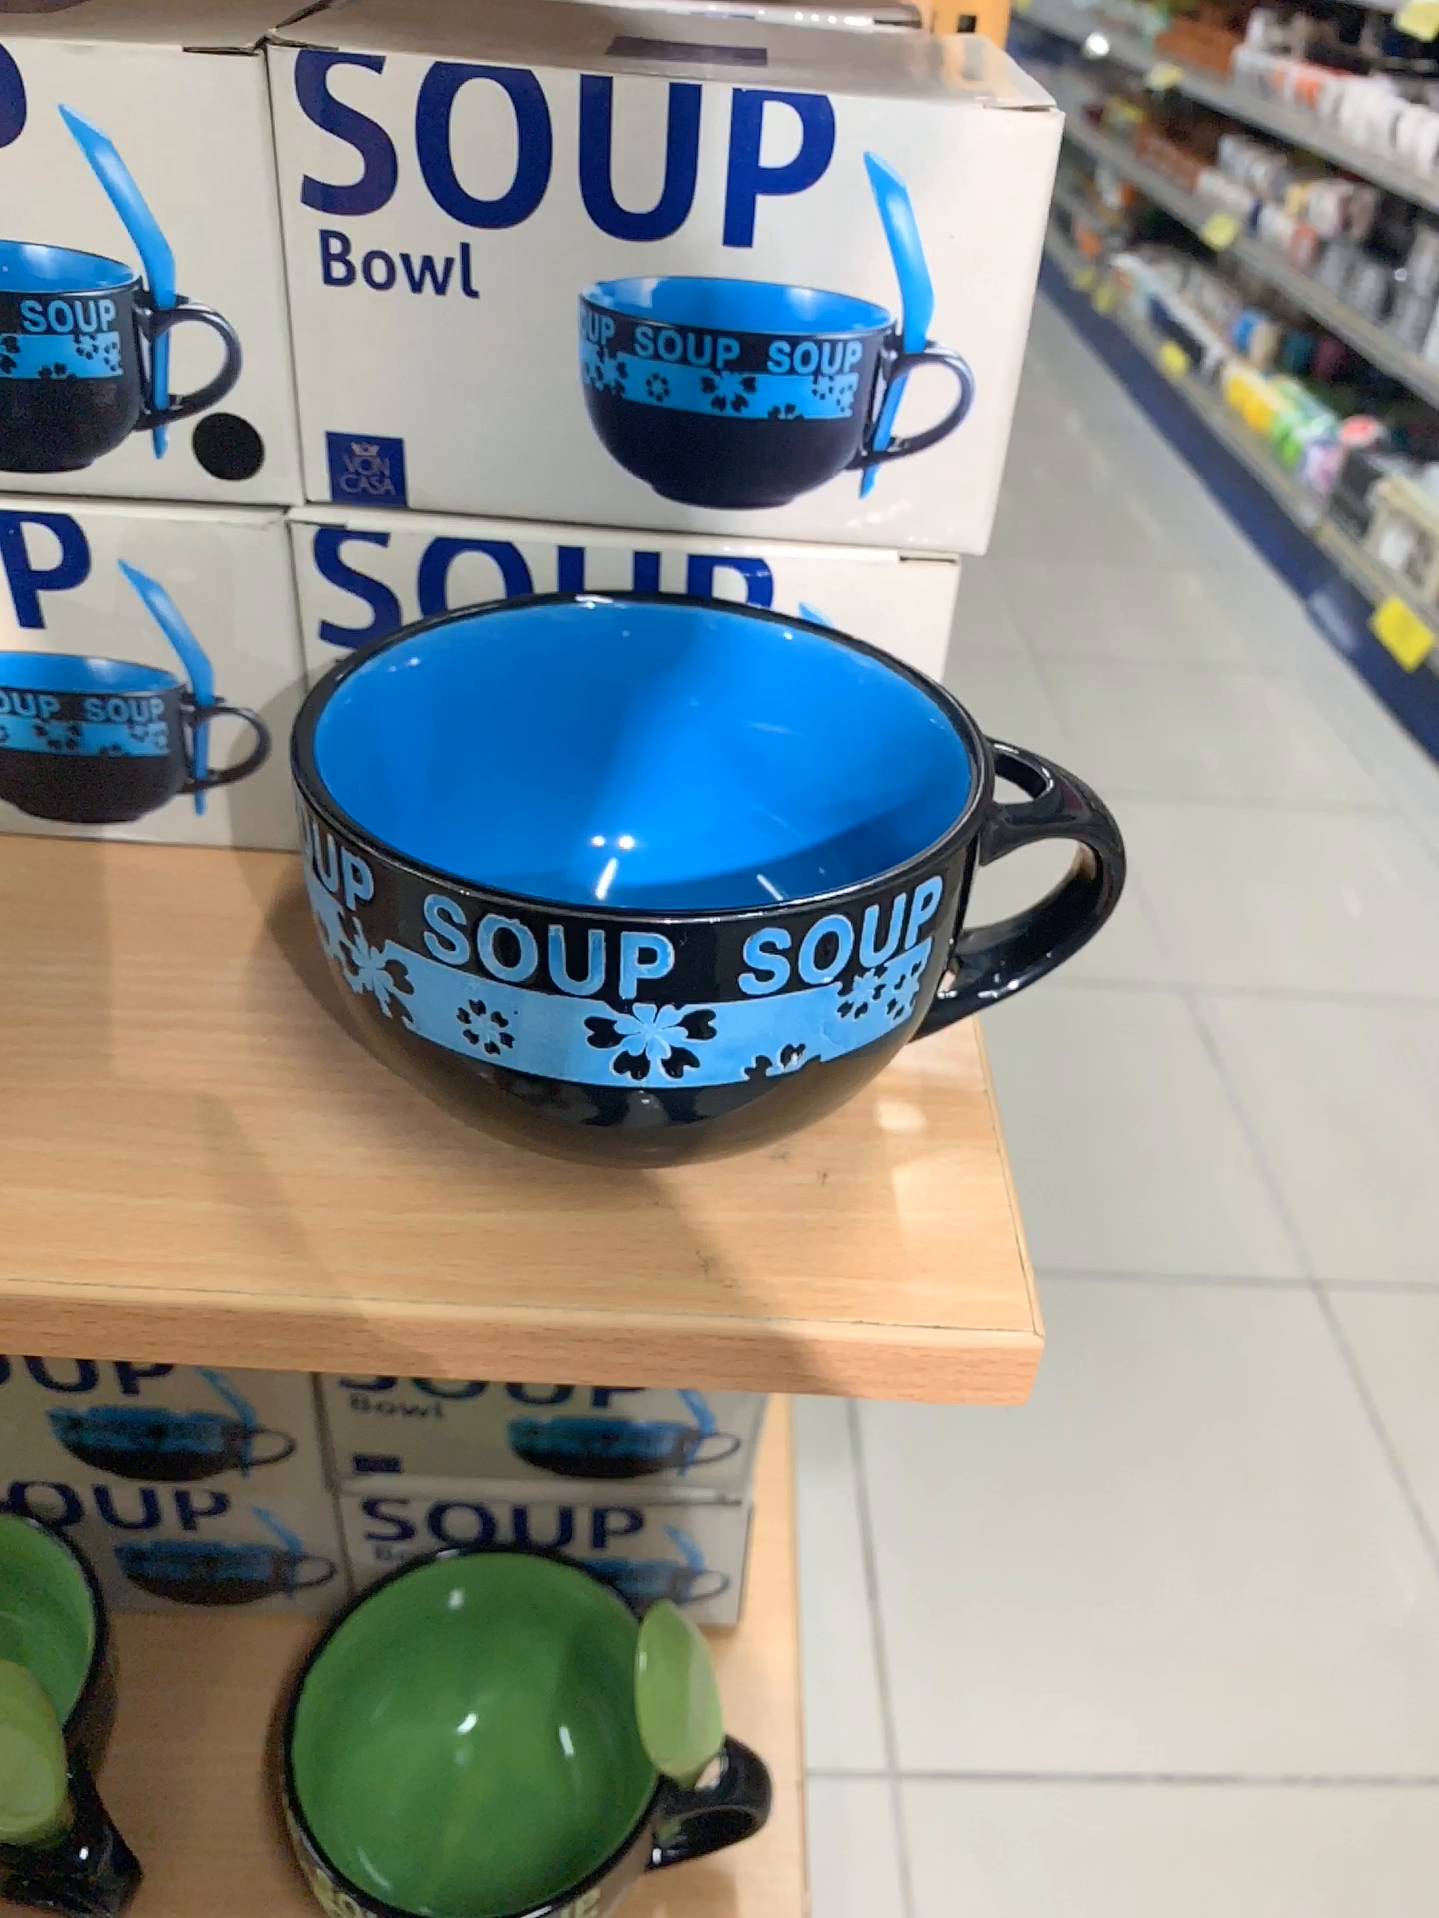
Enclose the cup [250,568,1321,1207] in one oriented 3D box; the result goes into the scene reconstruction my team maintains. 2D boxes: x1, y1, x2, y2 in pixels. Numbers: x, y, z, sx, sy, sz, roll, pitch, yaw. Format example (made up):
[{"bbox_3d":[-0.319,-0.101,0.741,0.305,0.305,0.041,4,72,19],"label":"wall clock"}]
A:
[{"bbox_3d":[0.003,-0.017,0.261,0.150,0.060,0.100,0,36,-11],"label":"cup"}]
